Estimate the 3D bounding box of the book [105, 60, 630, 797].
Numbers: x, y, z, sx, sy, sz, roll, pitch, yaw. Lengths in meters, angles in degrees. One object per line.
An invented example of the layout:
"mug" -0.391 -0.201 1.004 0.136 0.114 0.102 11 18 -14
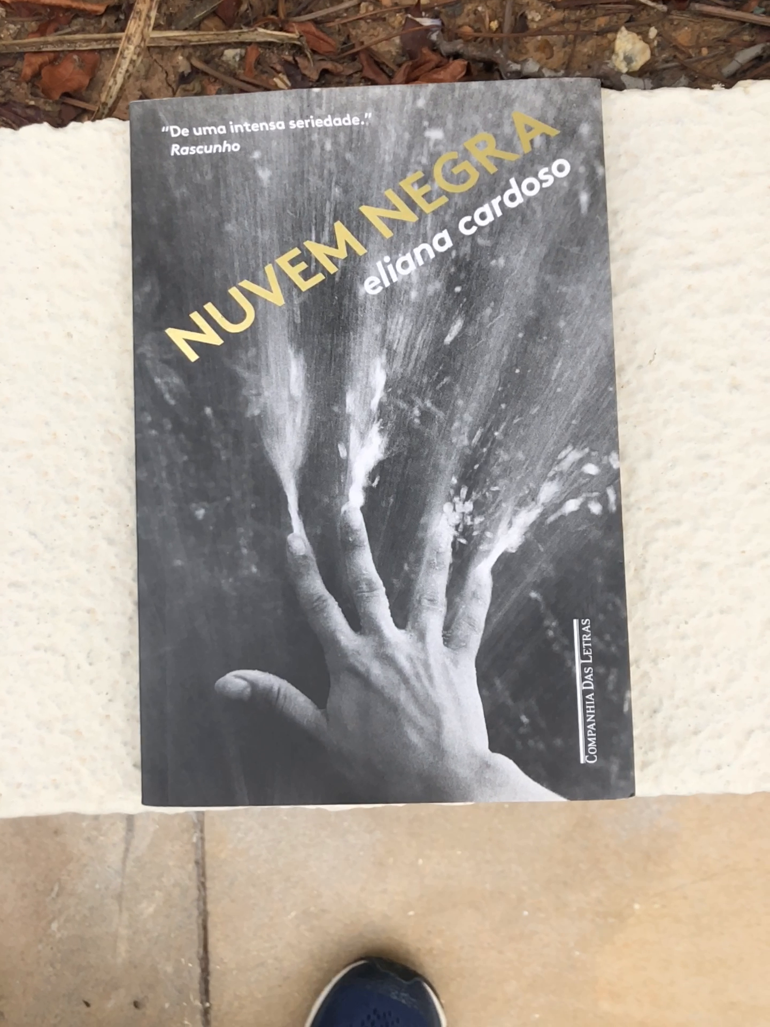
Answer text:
"book" -0.006 -0.025 0.243 0.140 0.013 0.200 -1 88 0
